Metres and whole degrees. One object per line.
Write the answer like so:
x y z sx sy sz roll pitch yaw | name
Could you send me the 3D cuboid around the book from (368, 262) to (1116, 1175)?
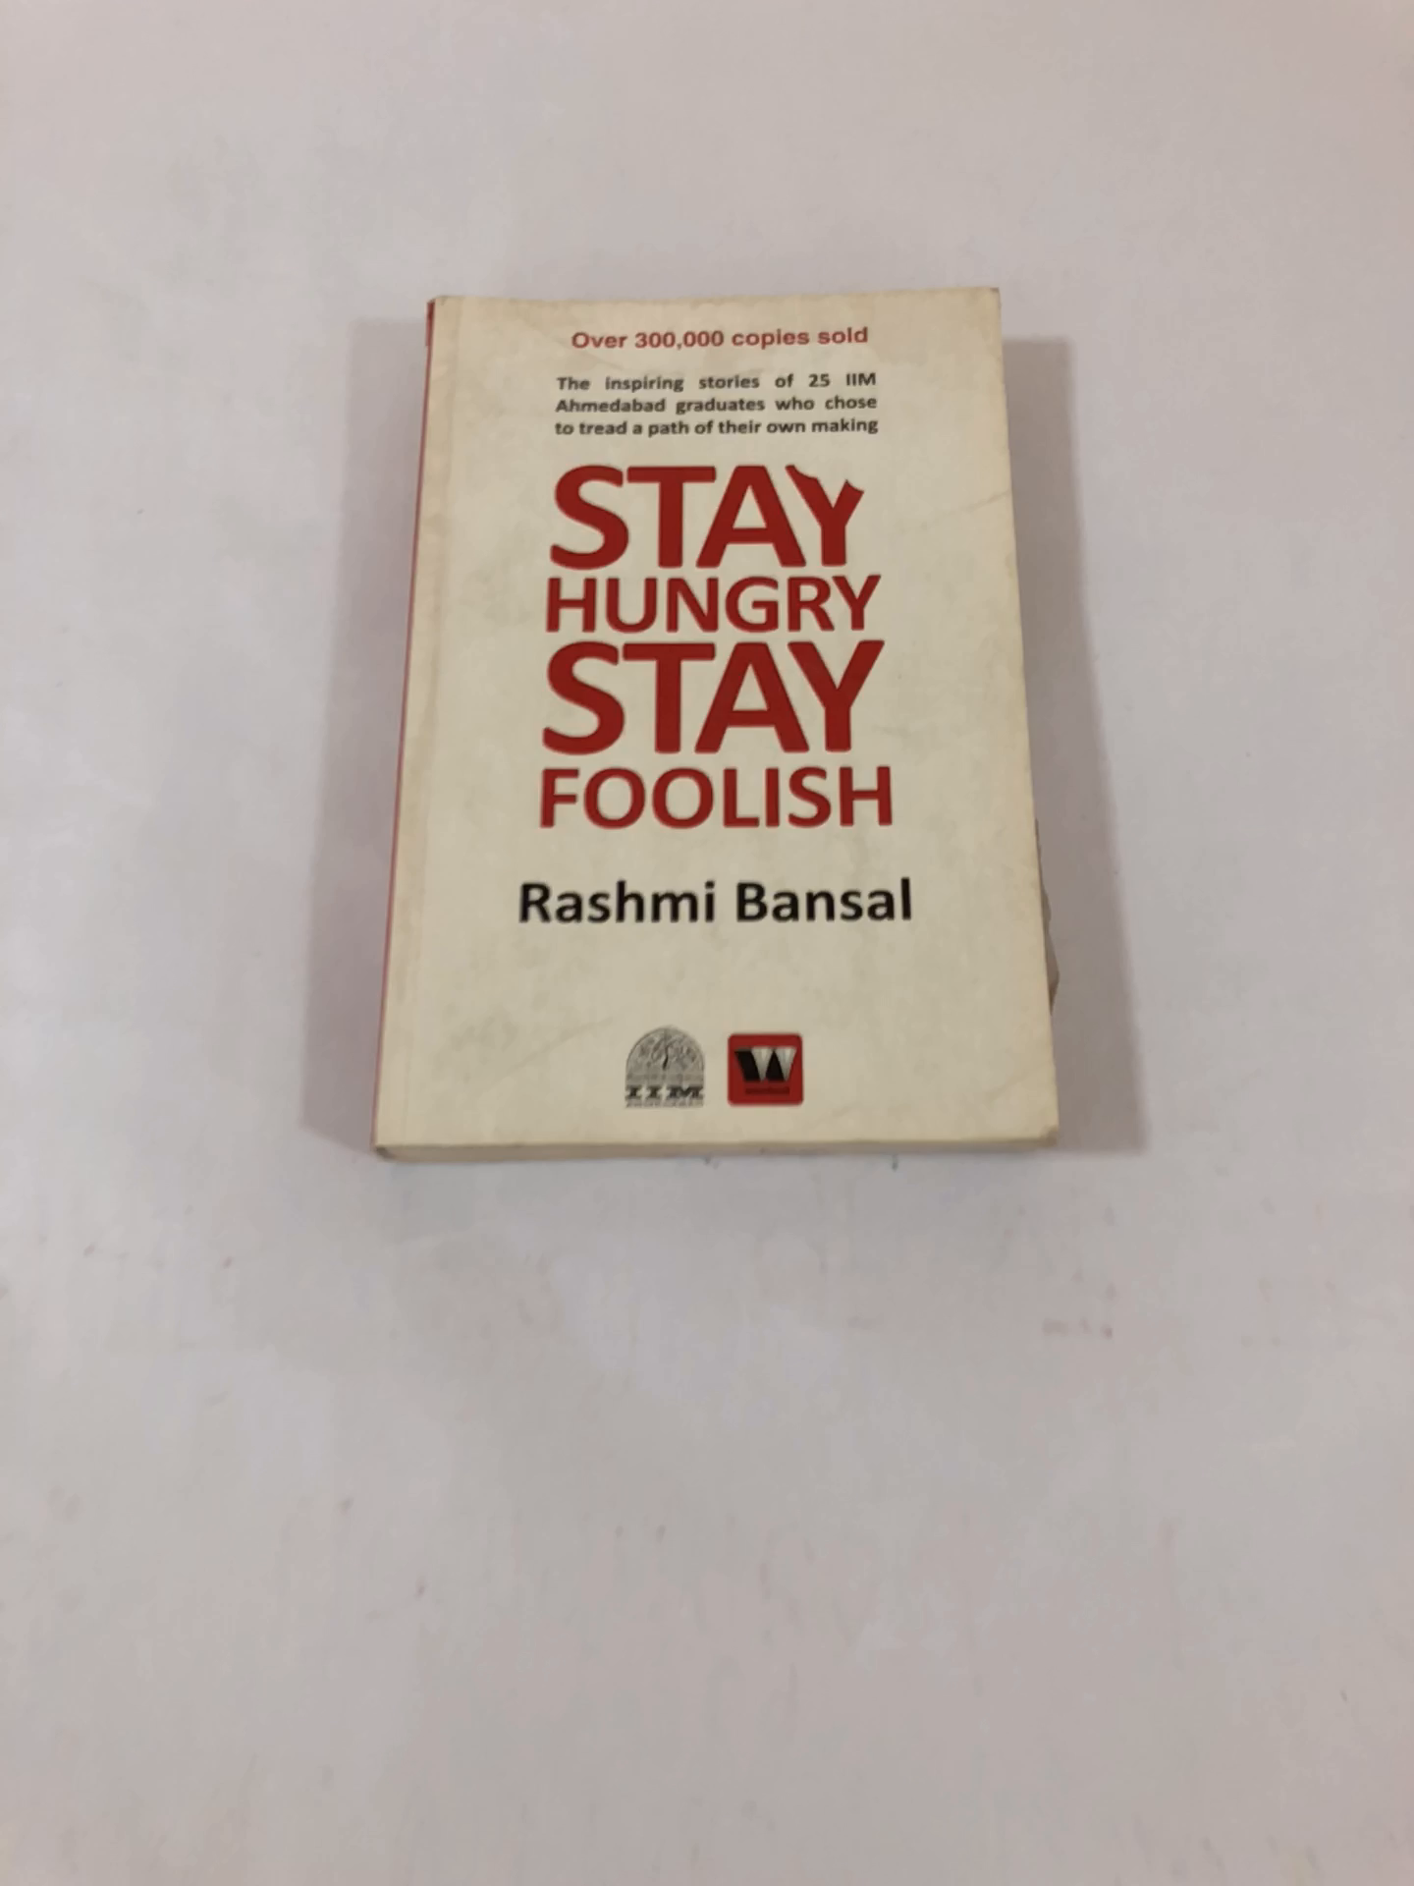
0.006 -0.050 0.323 0.130 0.040 0.190 0 70 0 | book
